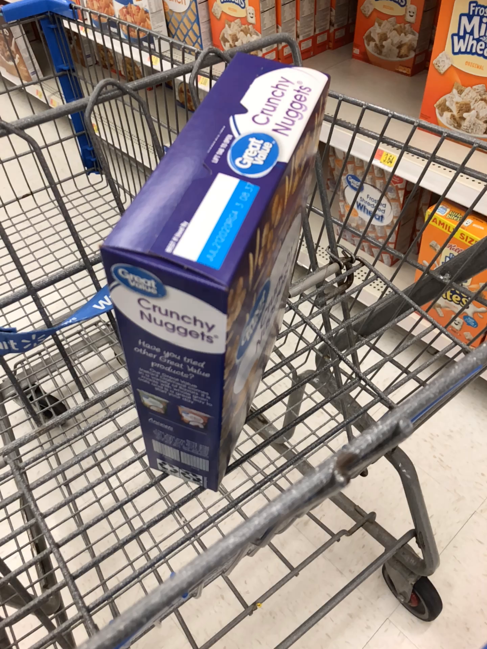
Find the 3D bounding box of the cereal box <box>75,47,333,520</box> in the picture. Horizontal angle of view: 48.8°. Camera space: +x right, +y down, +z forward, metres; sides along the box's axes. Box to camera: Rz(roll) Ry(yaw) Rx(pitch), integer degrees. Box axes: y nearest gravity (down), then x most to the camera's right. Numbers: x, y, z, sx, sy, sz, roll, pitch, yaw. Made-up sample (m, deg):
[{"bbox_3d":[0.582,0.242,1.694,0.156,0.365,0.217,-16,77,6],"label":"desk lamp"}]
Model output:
[{"bbox_3d":[-0.012,-0.009,0.335,0.060,0.240,0.170,16,53,9],"label":"cereal box"}]
